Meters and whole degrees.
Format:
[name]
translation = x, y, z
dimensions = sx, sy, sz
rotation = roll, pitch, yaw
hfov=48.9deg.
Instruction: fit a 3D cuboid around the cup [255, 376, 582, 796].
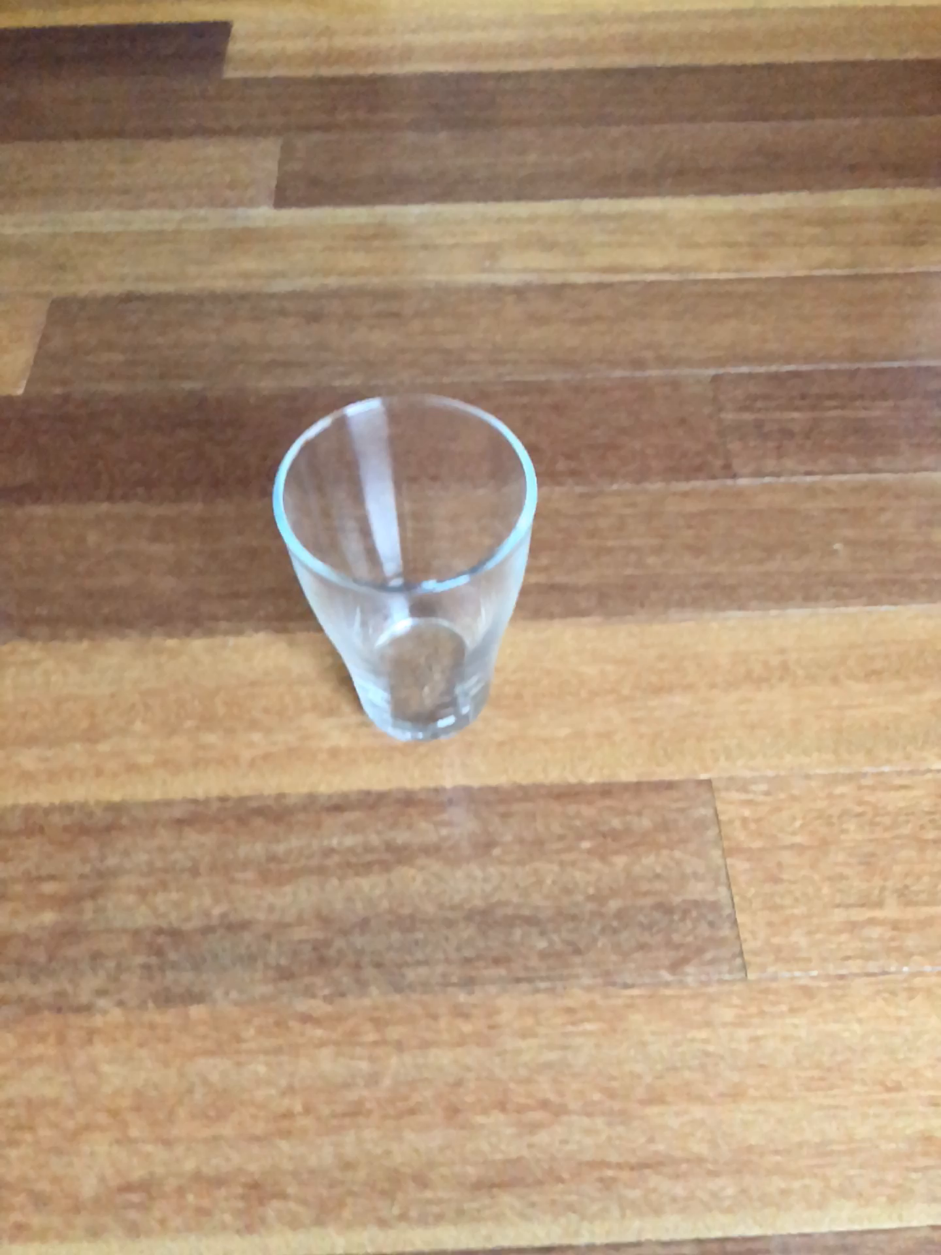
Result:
[cup]
translation = -0.019, -0.012, 0.370
dimensions = 0.090, 0.109, 0.090
rotation = 0, 56, 0
